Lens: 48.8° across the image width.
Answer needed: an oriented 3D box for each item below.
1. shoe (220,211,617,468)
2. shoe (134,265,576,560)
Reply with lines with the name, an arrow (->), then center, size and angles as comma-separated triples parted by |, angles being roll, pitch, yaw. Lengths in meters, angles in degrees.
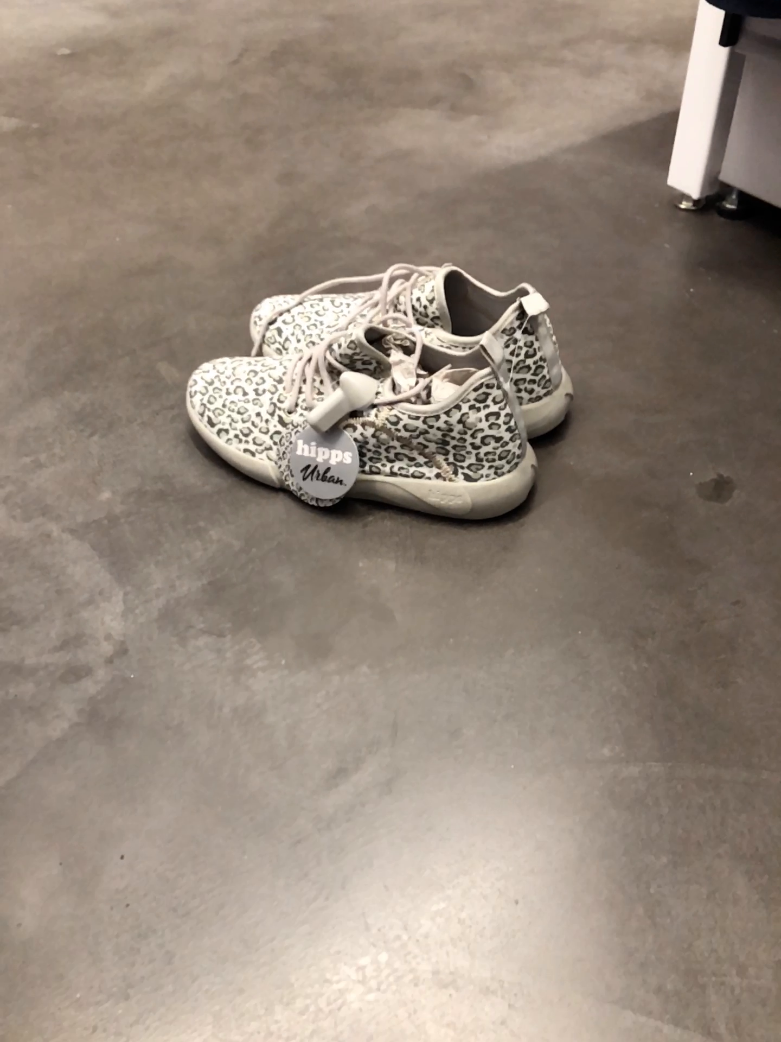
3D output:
shoe -> 0.020, -0.136, 0.619 | 0.250, 0.099, 0.101 | 15, 48, 18
shoe -> -0.021, -0.076, 0.558 | 0.250, 0.099, 0.101 | 15, 48, 18
